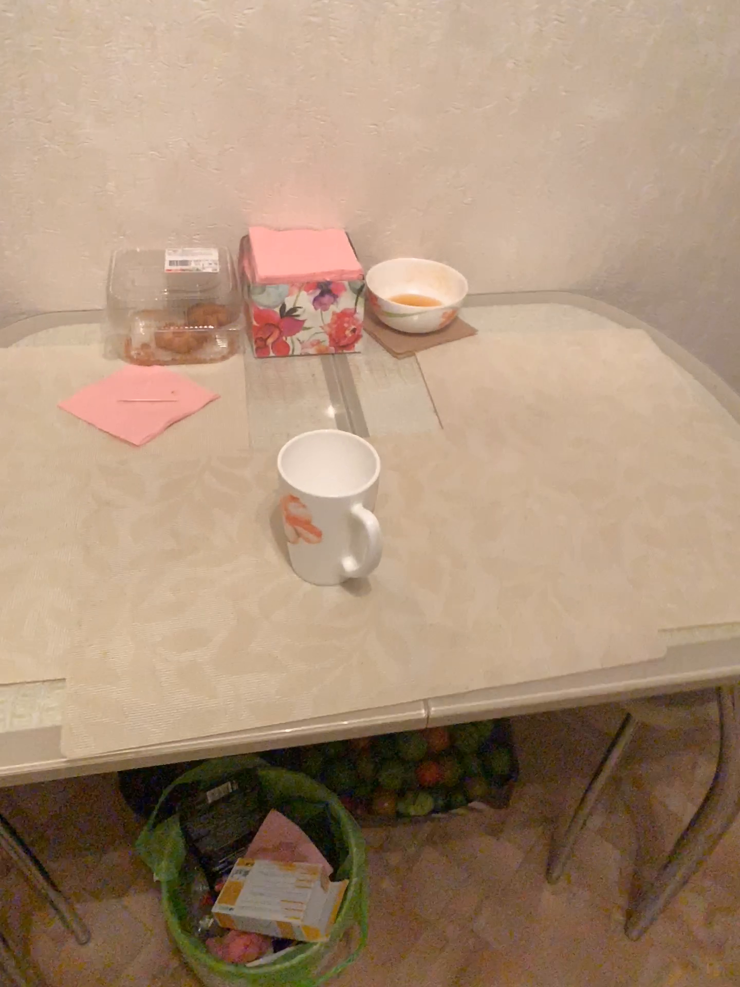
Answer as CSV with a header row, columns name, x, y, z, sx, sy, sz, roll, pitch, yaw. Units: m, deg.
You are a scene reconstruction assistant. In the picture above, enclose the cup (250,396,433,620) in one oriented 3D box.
name,x,y,z,sx,sy,sz,roll,pitch,yaw
cup,-0.026,0.008,0.590,0.090,0.099,0.121,-19,46,-23
